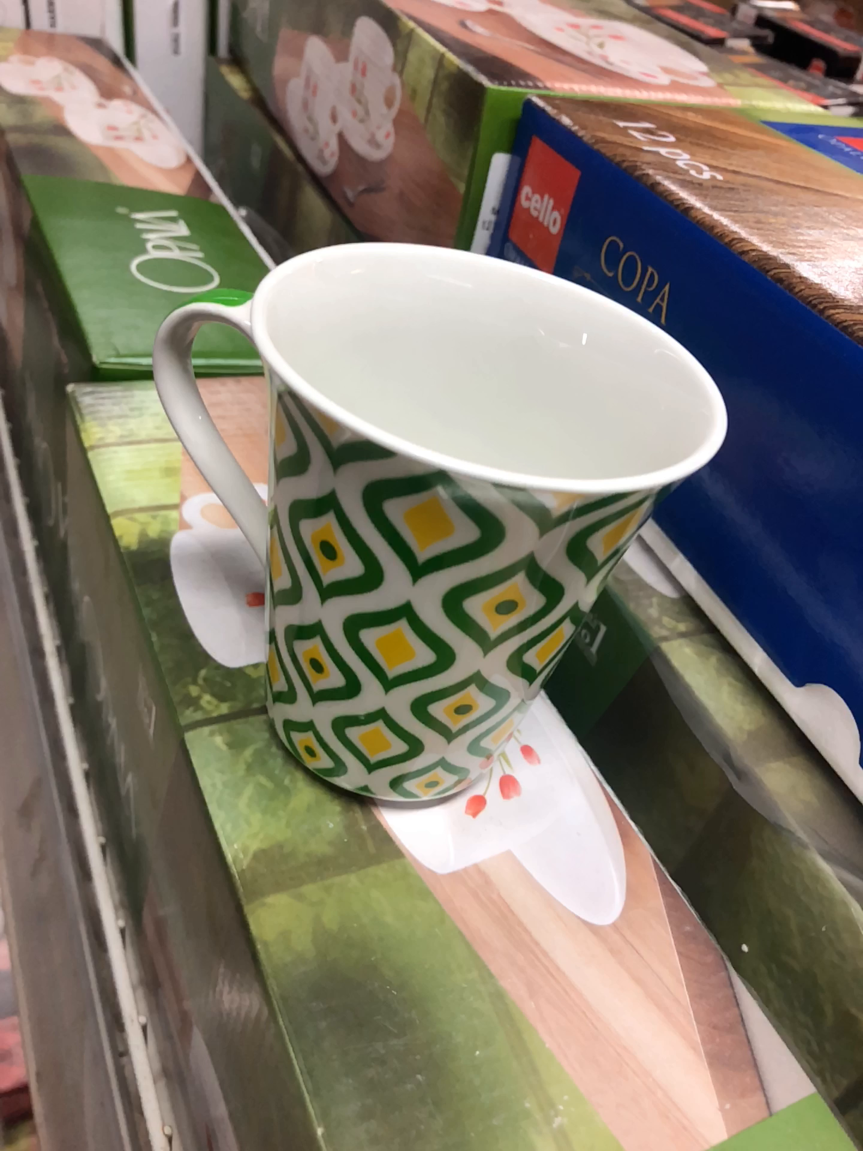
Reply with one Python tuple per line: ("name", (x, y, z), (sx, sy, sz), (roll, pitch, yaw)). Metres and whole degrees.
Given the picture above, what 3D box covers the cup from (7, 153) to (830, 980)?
("cup", (-0.004, -0.005, 0.200), (0.120, 0.109, 0.080), (23, 41, 12))
